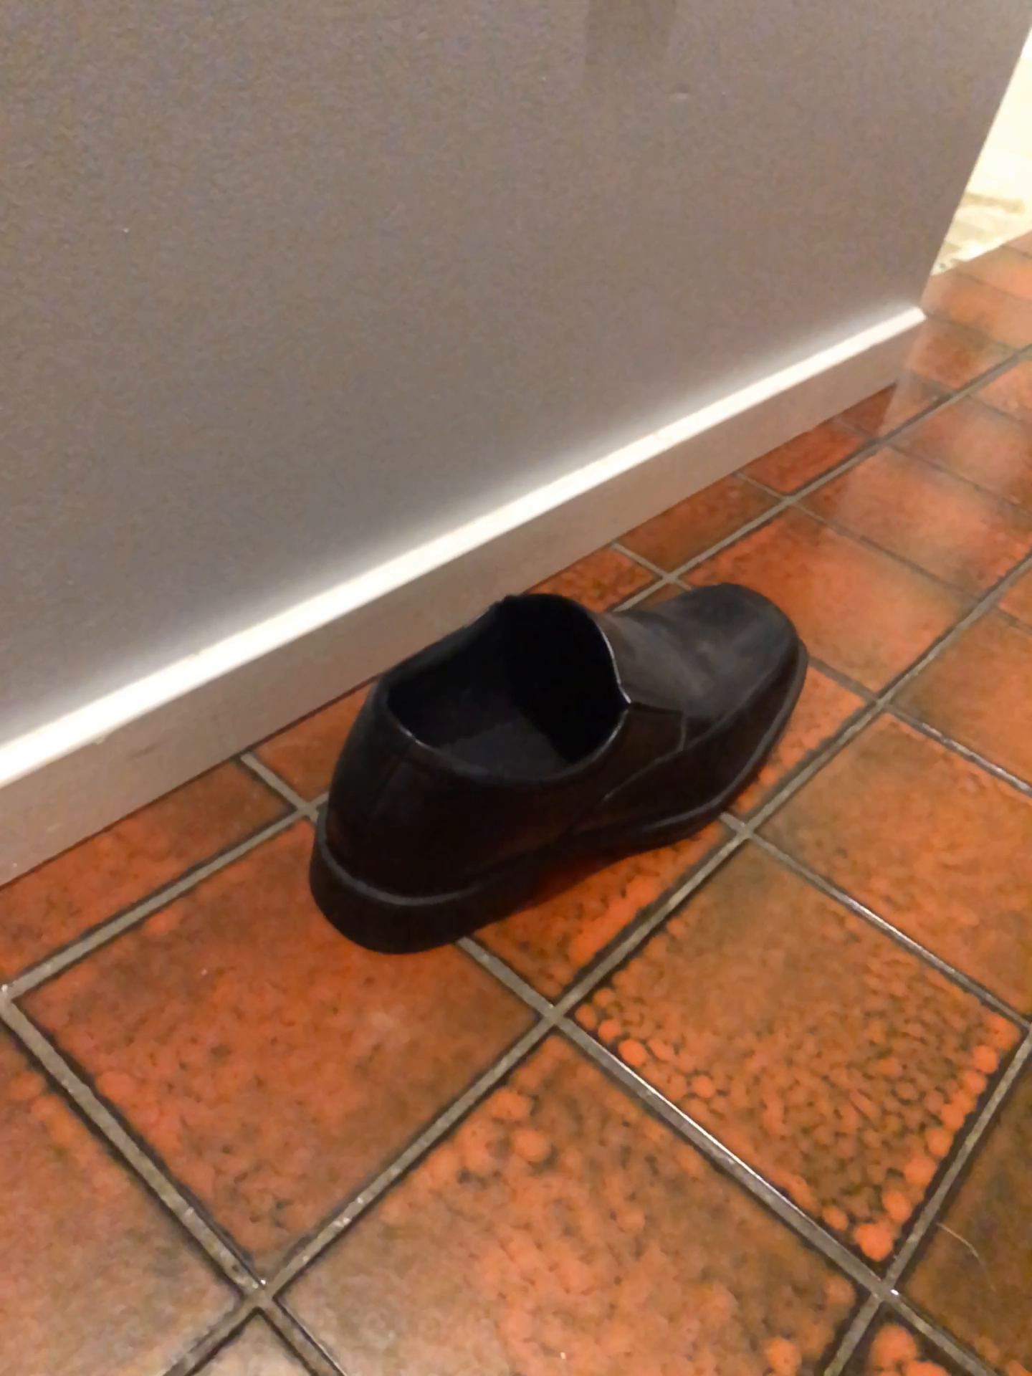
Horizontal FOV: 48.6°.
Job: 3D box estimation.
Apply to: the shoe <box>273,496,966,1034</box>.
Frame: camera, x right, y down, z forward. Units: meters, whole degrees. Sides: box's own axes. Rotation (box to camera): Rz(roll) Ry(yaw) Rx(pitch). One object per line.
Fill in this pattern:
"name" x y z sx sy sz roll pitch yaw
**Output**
"shoe" 0.054 0.016 0.527 0.301 0.100 0.120 -21 51 -34
